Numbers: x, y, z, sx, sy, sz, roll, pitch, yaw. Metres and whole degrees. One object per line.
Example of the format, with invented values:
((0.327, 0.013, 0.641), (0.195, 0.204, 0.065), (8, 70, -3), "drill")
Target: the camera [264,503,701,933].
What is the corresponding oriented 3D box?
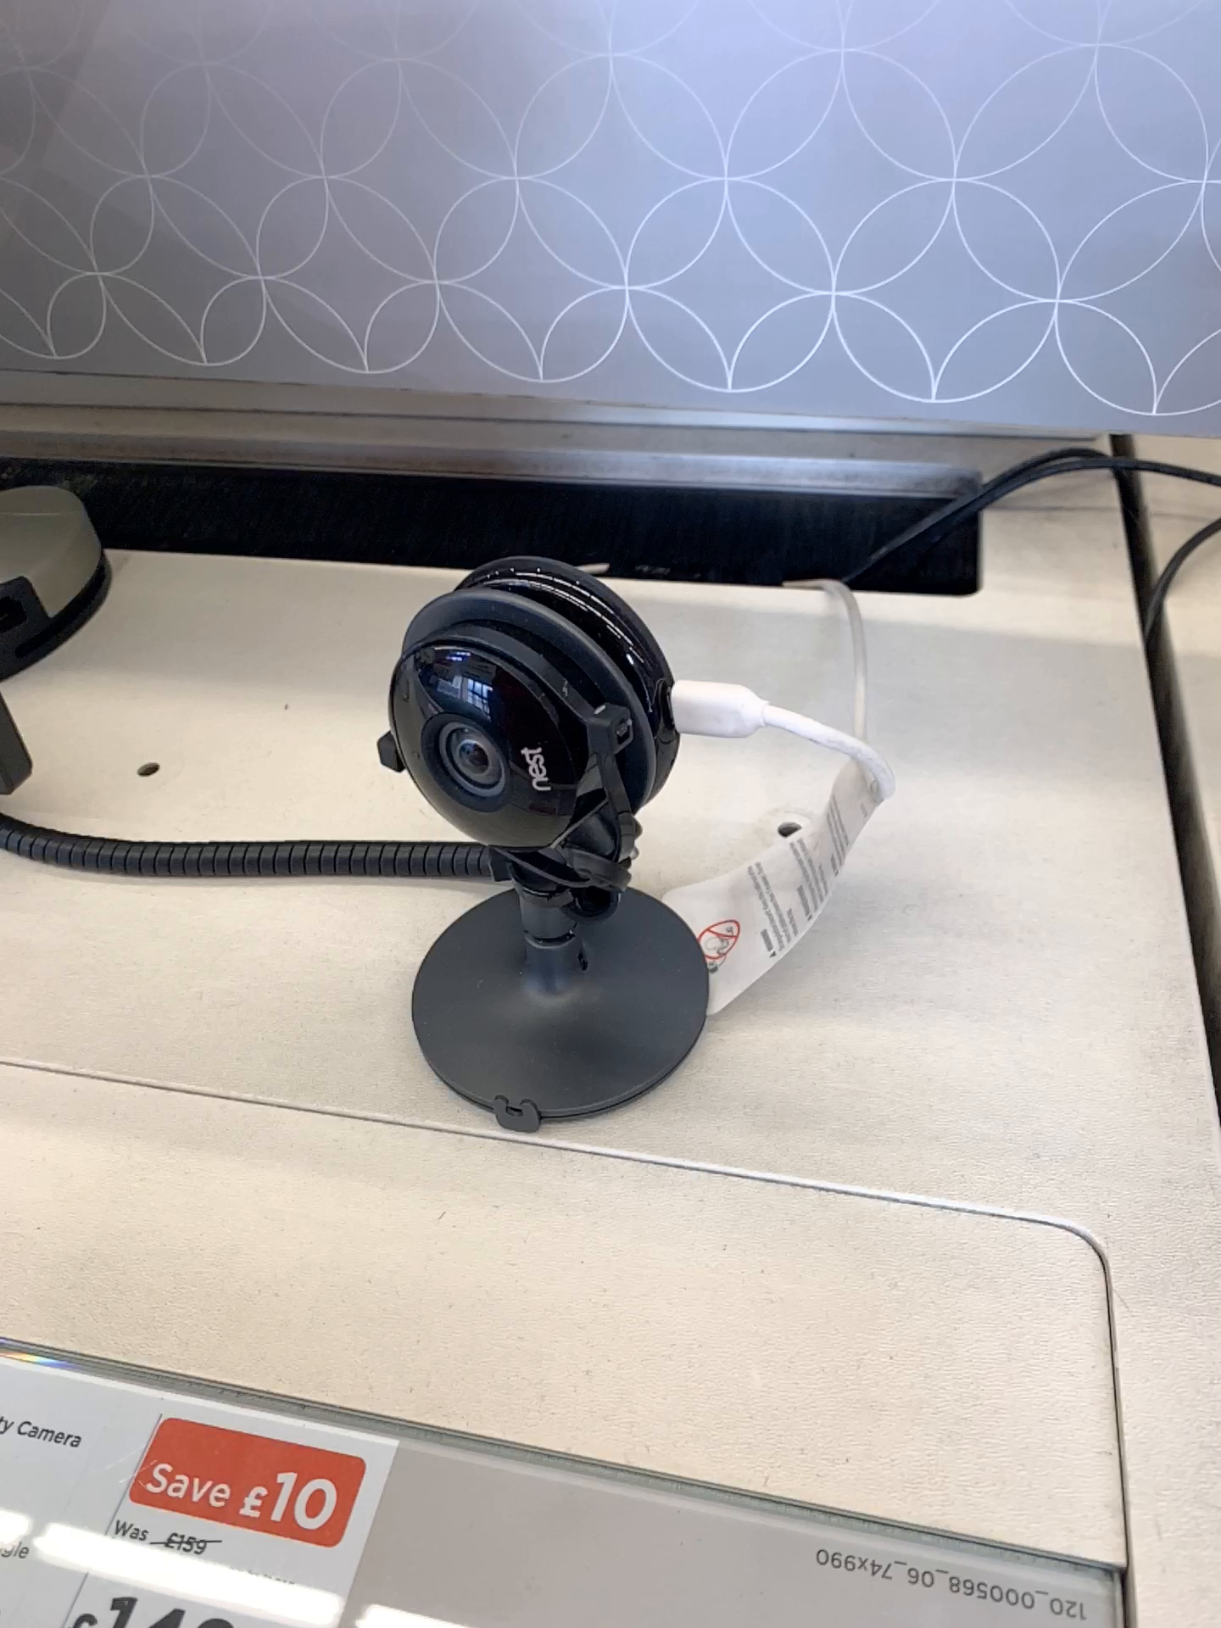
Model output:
((-0.021, -0.021, 0.244), (0.060, 0.050, 0.050), (19, 46, 26), "camera")
